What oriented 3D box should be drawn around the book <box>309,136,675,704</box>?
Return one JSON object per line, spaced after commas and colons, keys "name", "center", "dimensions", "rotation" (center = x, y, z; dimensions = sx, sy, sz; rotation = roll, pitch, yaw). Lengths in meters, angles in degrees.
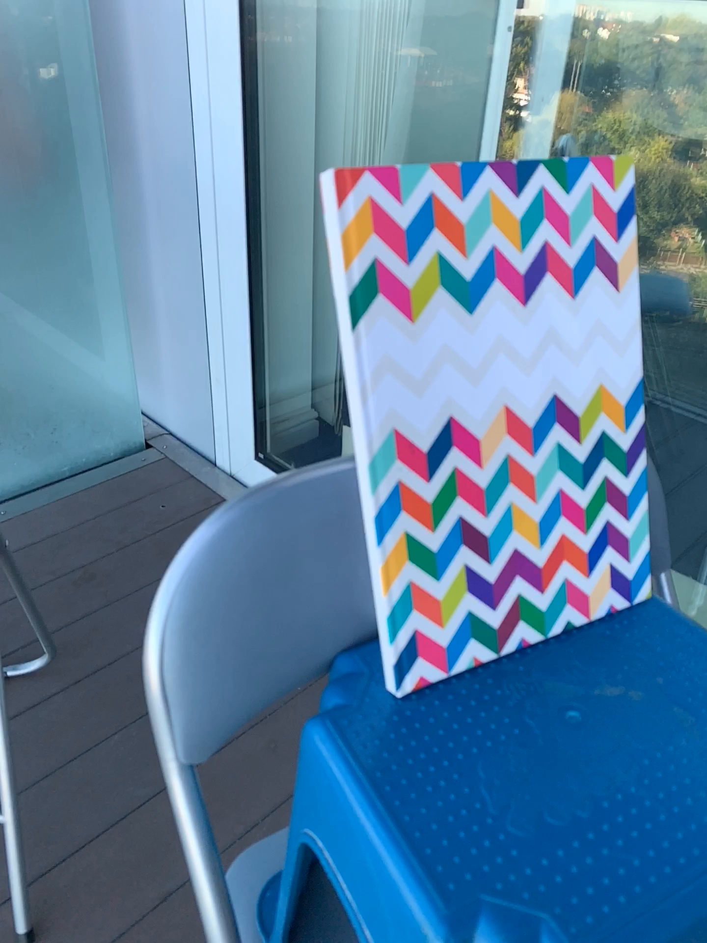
{"name": "book", "center": [0.097, -0.037, 0.421], "dimensions": [0.211, 0.289, 0.030], "rotation": [-13, 13, -24]}
